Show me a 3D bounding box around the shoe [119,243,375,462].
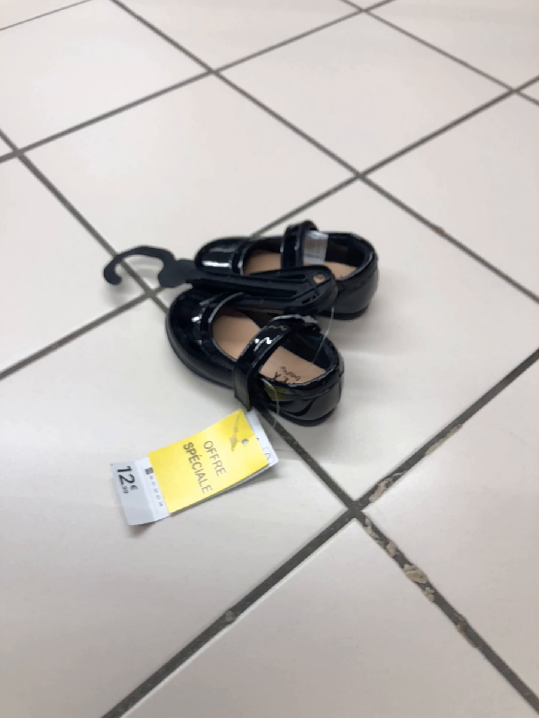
[{"bbox_3d":[-0.014,-0.007,0.348,0.130,0.048,0.060,29,59,19],"label":"shoe"}]

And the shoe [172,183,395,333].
[{"bbox_3d":[0.010,-0.066,0.387,0.127,0.048,0.060,11,55,7],"label":"shoe"}]
